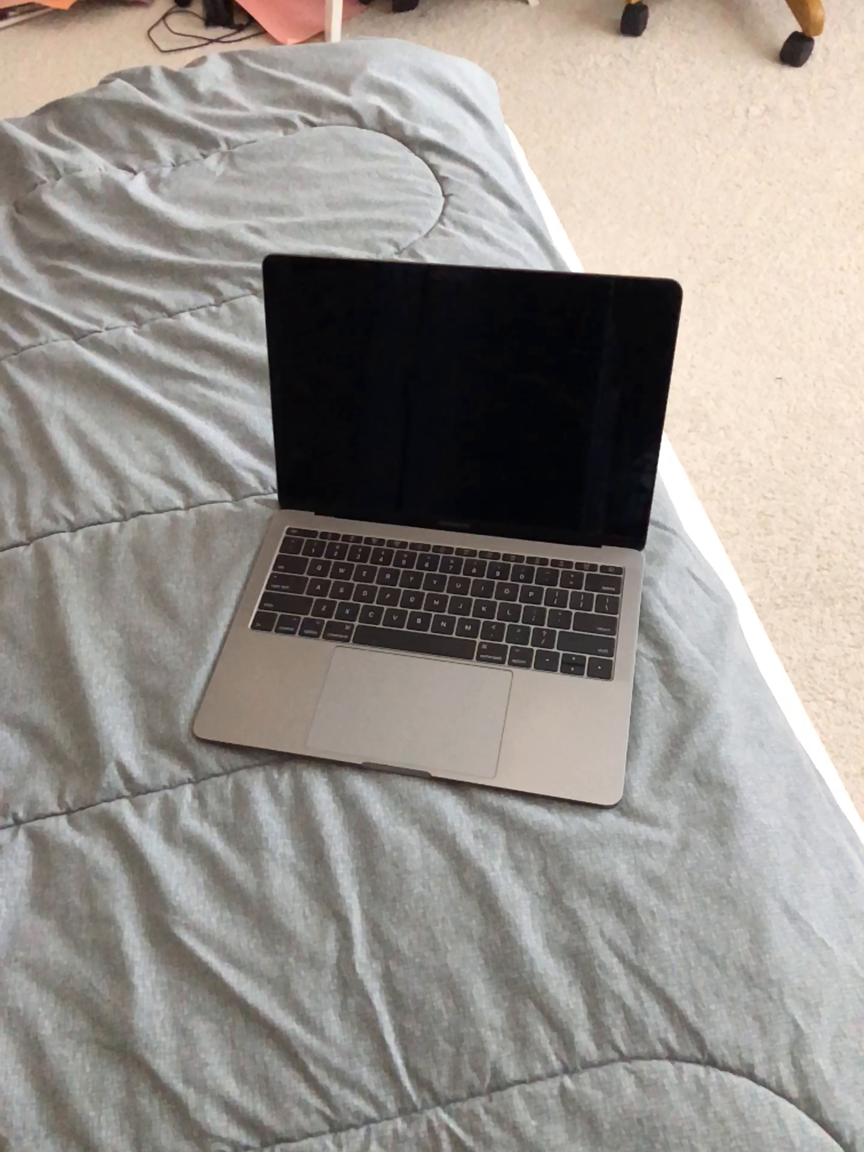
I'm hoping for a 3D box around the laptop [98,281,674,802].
[{"bbox_3d":[-0.003,-0.032,0.621,0.279,0.159,0.282,7,57,10],"label":"laptop"}]
